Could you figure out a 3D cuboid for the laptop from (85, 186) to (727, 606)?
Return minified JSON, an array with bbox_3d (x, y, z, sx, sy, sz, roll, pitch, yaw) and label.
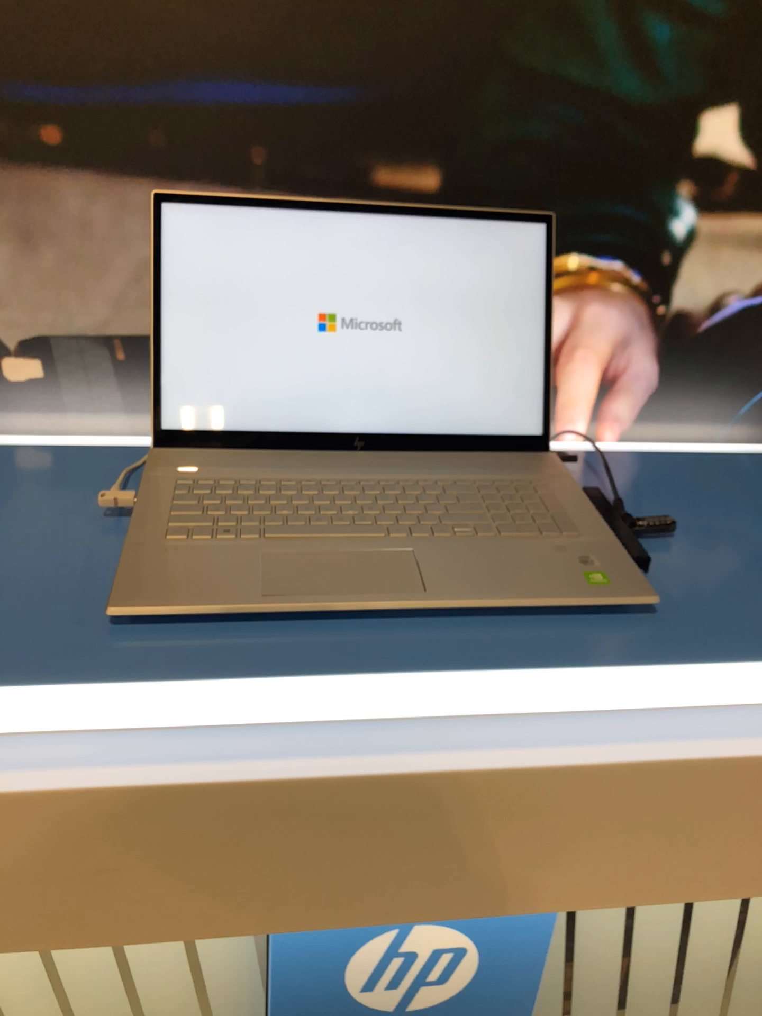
[{"bbox_3d":[-0.005,-0.124,0.731,0.400,0.217,0.385,0,28,-8],"label":"laptop"}]
